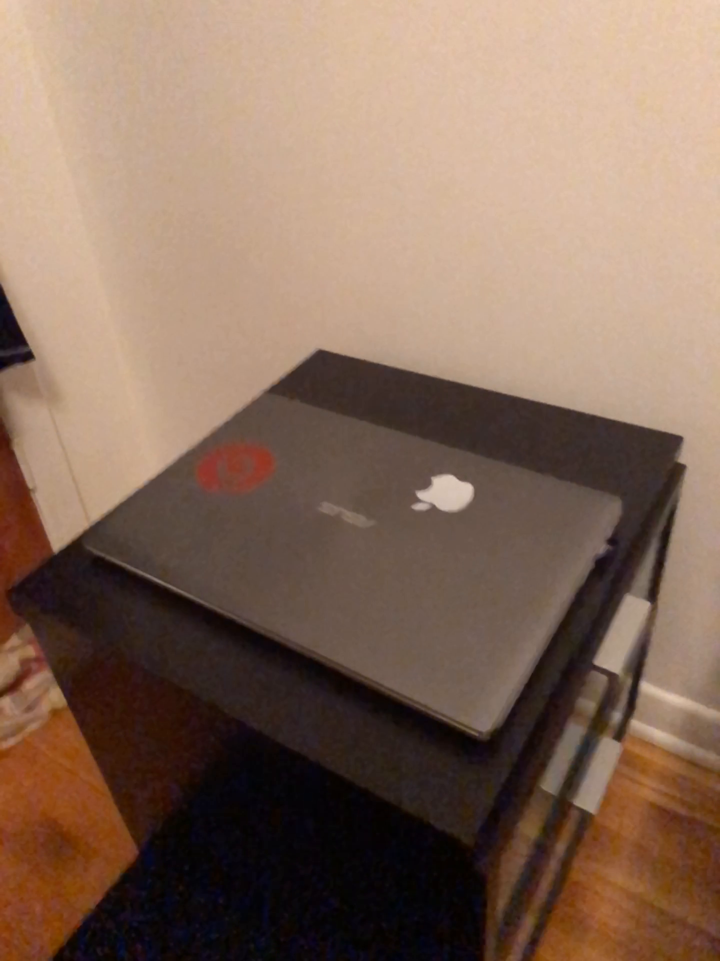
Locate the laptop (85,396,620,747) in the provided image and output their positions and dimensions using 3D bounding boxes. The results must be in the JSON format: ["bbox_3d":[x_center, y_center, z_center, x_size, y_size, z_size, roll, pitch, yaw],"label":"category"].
[{"bbox_3d":[-0.010,0.038,0.656,0.374,0.010,0.249,18,45,29],"label":"laptop"}]
